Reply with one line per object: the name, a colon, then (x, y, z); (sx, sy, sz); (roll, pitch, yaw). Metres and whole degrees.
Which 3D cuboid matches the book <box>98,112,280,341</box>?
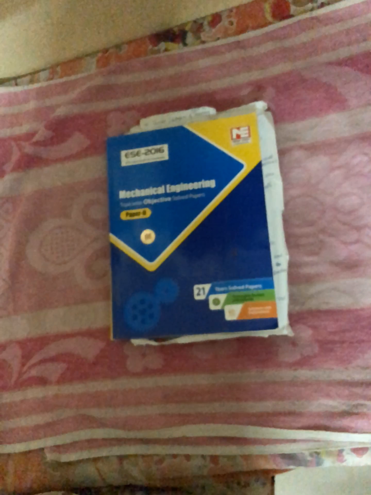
book: (0.000, -0.022, 0.550); (0.215, 0.055, 0.270); (-6, 80, 13)
